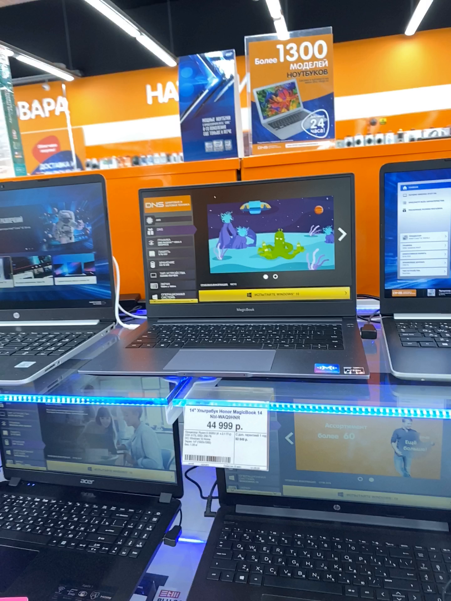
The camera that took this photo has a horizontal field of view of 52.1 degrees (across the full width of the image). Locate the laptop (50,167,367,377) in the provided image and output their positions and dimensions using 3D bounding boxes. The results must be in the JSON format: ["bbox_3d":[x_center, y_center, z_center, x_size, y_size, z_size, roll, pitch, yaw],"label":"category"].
[{"bbox_3d":[0.002,-0.046,0.590,0.323,0.203,0.238,-1,12,13],"label":"laptop"}]
